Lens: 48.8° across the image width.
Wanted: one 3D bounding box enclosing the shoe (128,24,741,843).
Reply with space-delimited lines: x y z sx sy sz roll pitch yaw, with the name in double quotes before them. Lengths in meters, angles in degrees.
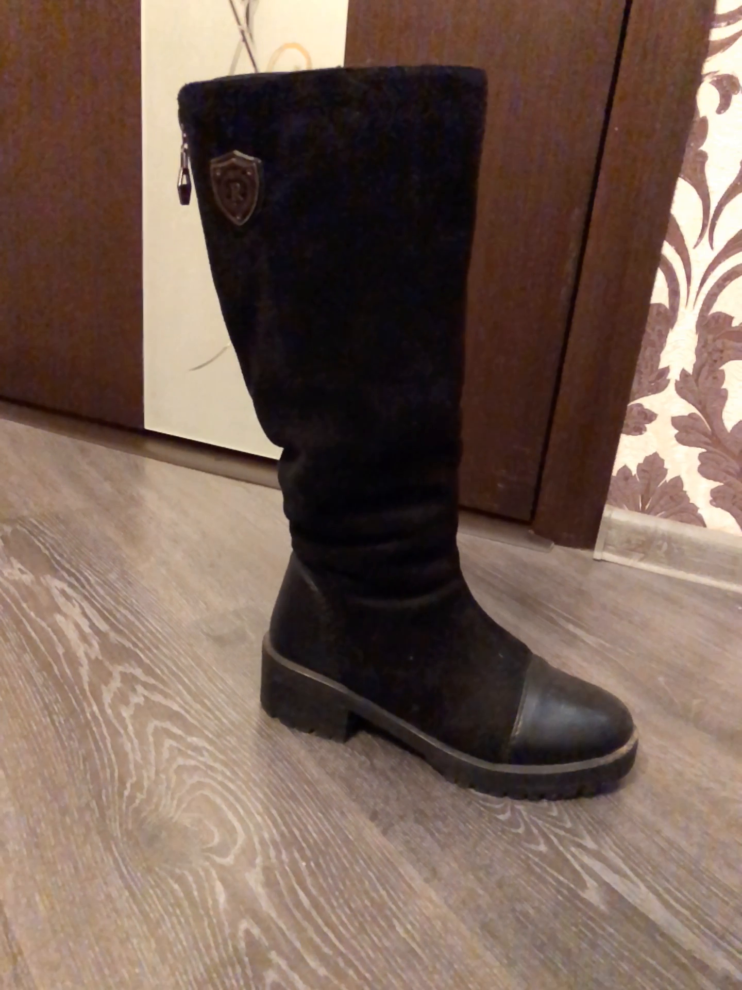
"shoe" 0.032 -0.033 0.445 0.290 0.358 0.121 11 21 12
